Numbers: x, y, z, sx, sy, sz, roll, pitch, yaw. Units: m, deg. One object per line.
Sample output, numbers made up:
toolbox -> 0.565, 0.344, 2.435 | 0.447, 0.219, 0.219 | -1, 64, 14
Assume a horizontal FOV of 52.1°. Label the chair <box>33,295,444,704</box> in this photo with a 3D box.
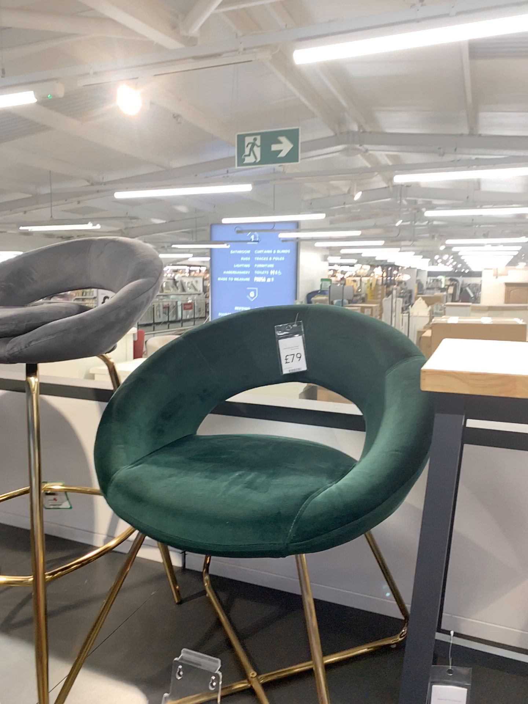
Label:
chair -> 0.000, 0.285, 1.092 | 0.629, 0.775, 0.555 | 3, 7, 21
